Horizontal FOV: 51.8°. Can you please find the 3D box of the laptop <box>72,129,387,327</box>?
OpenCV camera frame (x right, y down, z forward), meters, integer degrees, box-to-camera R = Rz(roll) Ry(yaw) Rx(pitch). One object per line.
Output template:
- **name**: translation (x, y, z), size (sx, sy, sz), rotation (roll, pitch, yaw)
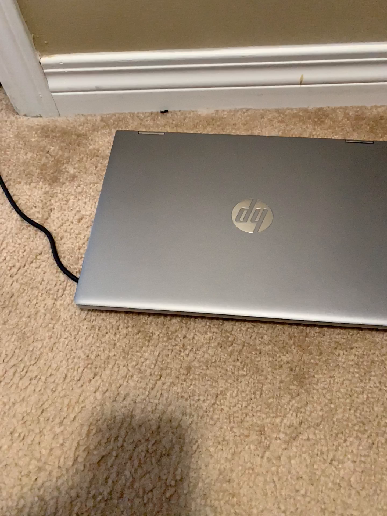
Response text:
- **laptop**: translation (0.062, -0.045, 0.403), size (0.319, 0.001, 0.222), rotation (4, 60, 2)
